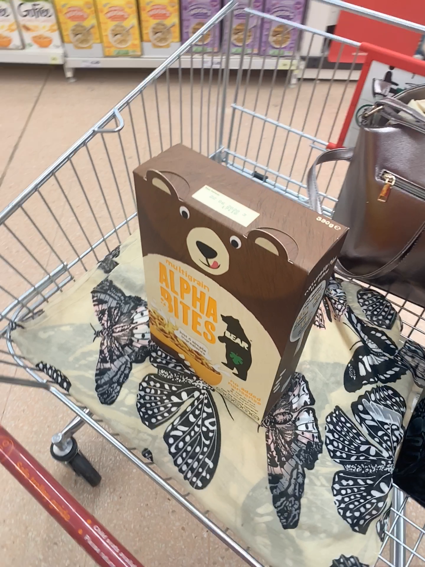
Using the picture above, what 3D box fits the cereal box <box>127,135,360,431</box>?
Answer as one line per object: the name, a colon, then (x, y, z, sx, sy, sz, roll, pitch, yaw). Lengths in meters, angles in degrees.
cereal box: (0.012, 0.019, 0.489, 0.201, 0.298, 0.070, 33, 55, 21)
